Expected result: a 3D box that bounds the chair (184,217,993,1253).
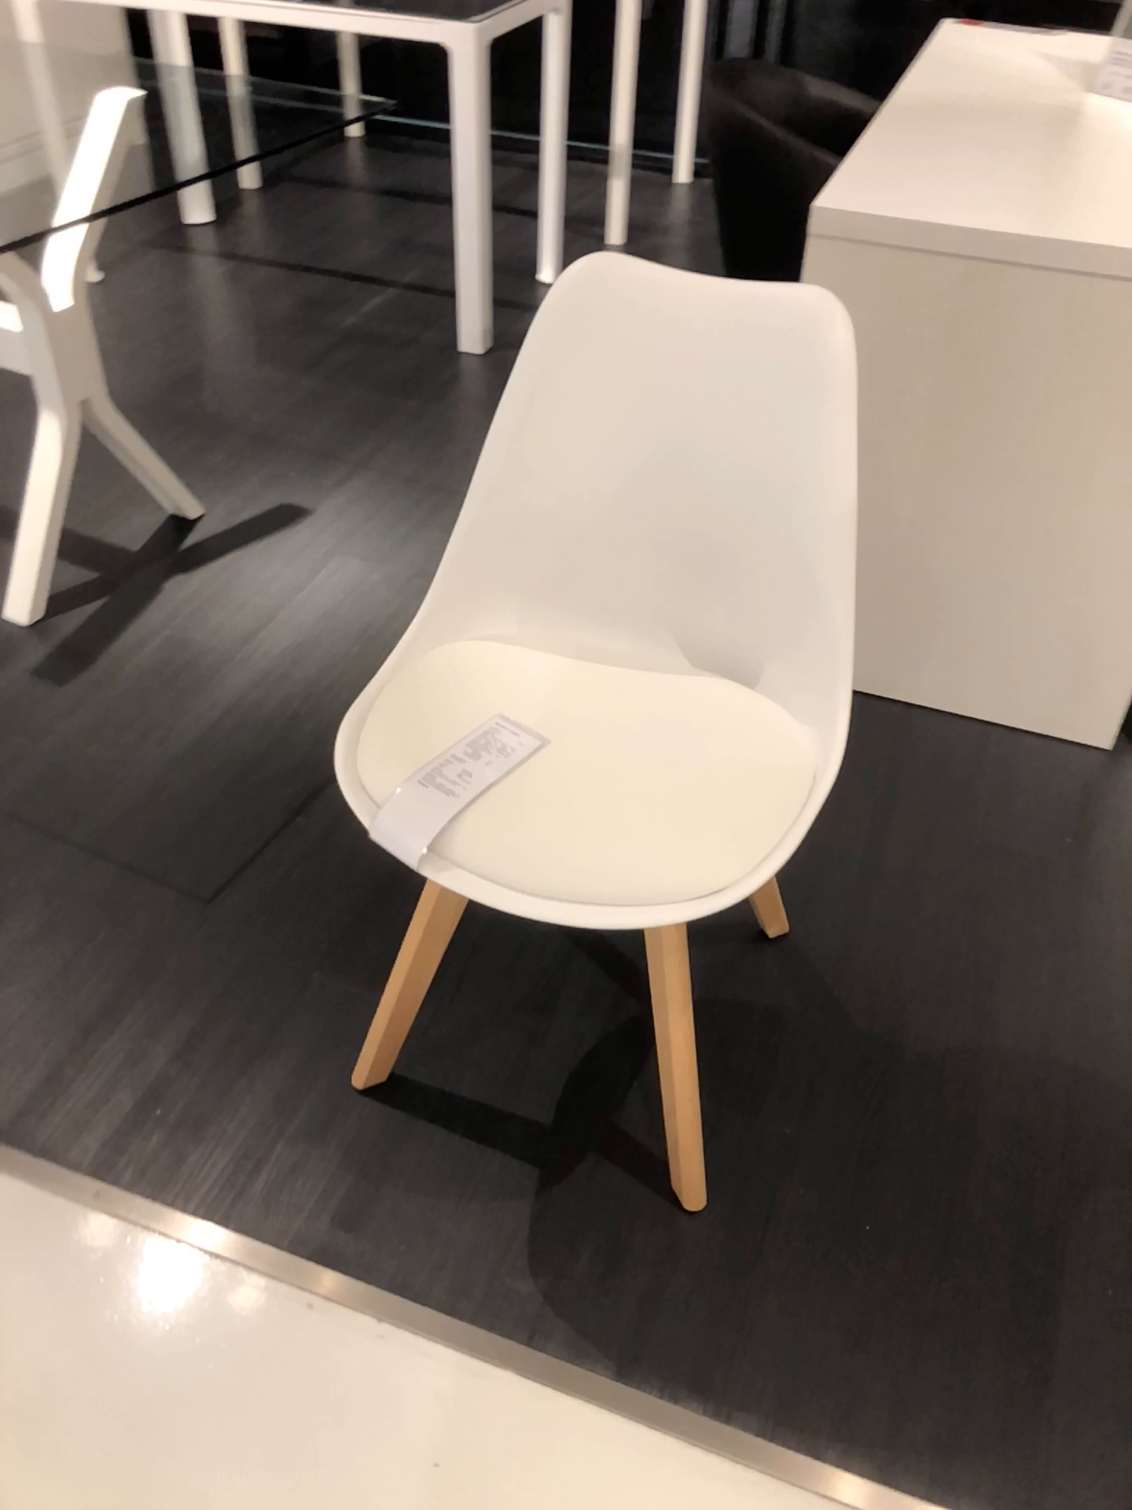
[{"bbox_3d":[0.045,-0.028,1.255,0.501,0.784,0.534,16,41,16],"label":"chair"}]
